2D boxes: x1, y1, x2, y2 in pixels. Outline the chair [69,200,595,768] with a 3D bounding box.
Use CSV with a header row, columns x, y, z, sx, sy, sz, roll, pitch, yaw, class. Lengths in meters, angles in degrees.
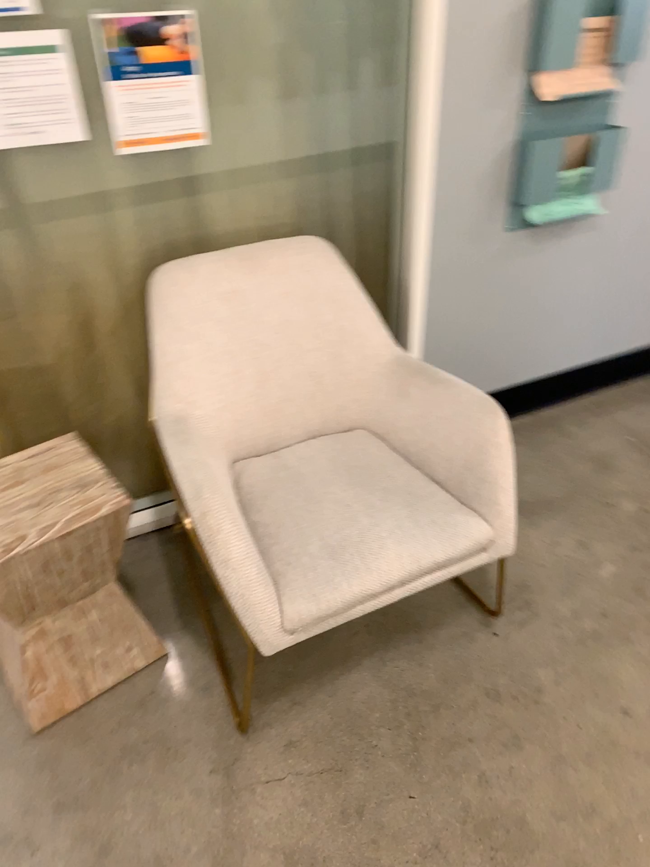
x,y,z,sx,sy,sz,roll,pitch,yaw,class
-0.031,0.041,1.570,0.780,0.865,0.774,-18,38,-22,chair
